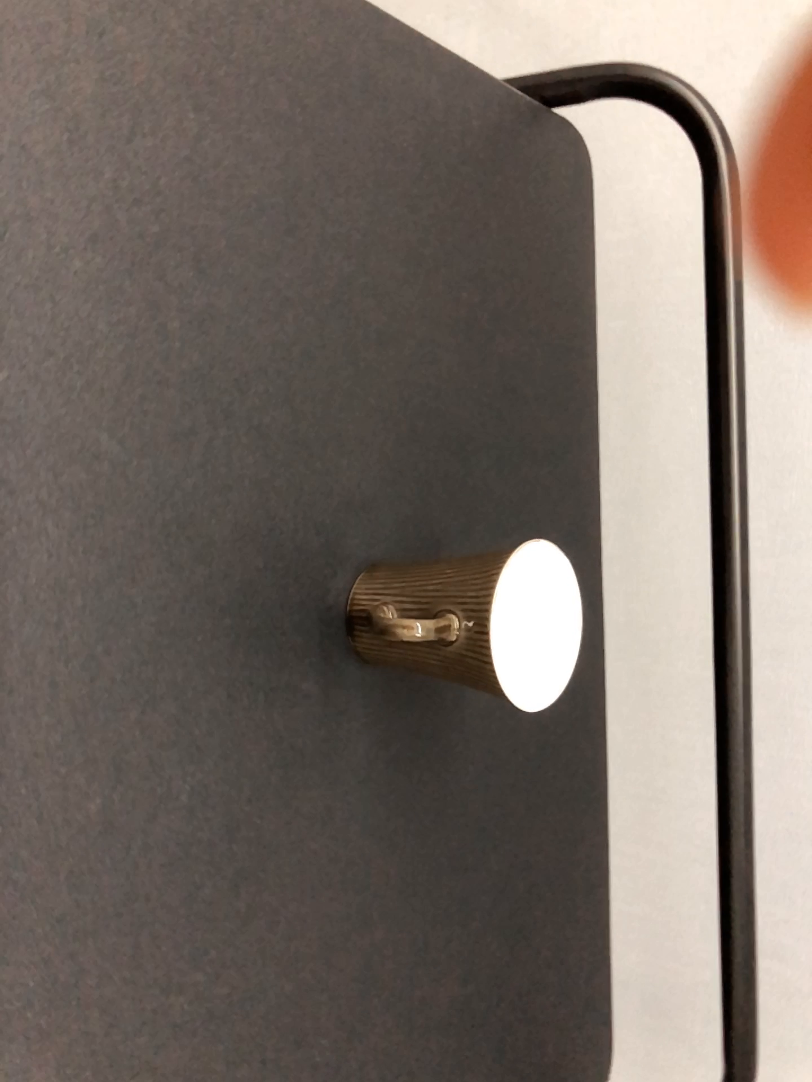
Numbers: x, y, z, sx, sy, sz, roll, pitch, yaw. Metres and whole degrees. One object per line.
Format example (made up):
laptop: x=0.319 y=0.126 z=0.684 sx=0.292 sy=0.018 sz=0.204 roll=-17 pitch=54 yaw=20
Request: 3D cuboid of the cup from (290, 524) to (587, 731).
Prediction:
cup: x=0.015 y=0.030 z=0.340 sx=0.090 sy=0.069 sz=0.065 roll=7 pitch=85 yaw=-51
